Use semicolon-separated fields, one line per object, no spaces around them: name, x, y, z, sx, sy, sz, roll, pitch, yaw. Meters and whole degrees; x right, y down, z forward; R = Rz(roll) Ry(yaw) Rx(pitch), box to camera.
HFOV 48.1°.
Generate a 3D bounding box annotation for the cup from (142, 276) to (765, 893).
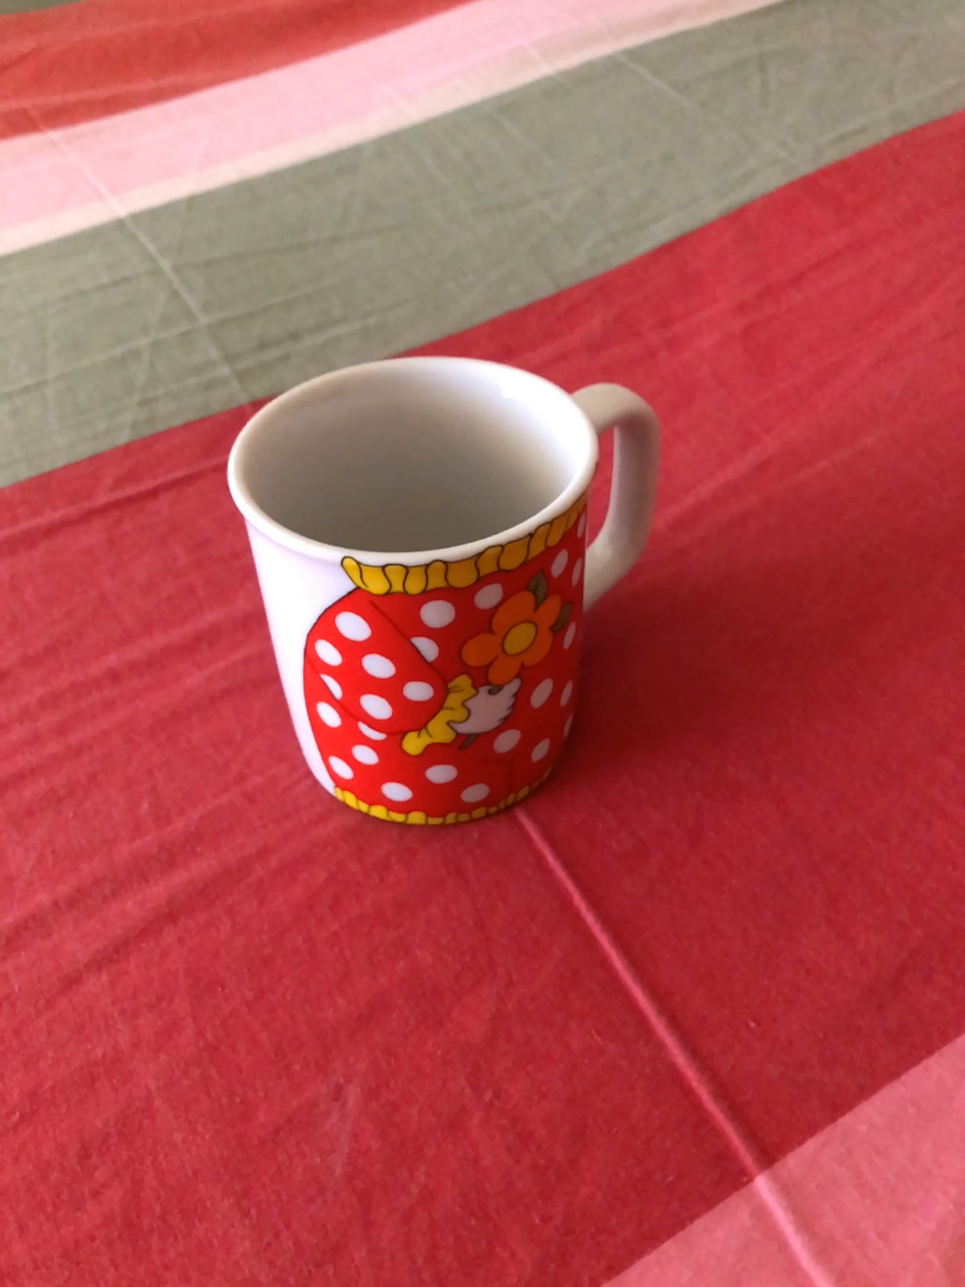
cup;-0.004;-0.022;0.280;0.089;0.086;0.116;34;53;31
